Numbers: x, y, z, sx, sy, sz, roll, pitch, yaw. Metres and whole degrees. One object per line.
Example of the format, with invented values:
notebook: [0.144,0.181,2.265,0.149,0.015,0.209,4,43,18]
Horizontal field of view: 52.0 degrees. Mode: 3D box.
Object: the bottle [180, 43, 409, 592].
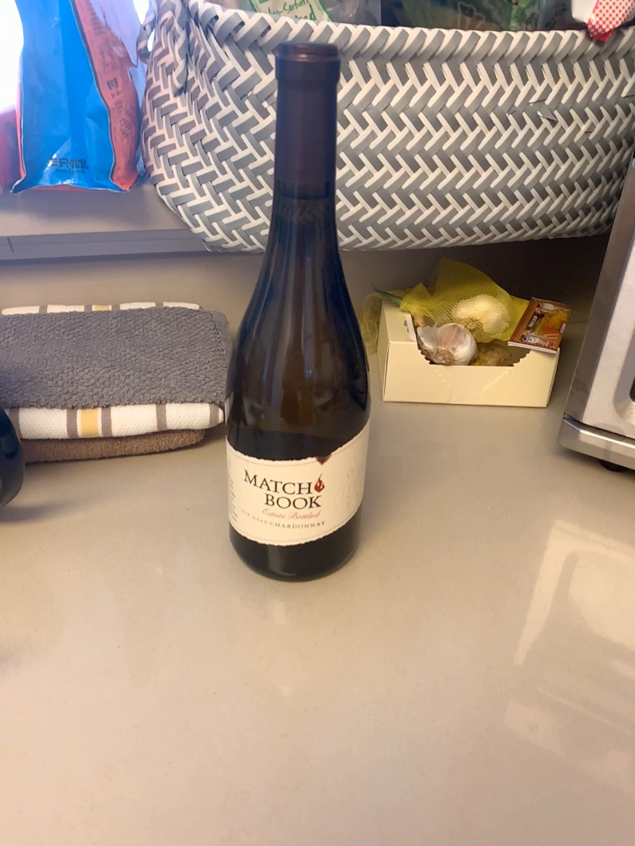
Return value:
bottle: [-0.008,-0.049,0.375,0.090,0.288,0.101,6,32,6]
